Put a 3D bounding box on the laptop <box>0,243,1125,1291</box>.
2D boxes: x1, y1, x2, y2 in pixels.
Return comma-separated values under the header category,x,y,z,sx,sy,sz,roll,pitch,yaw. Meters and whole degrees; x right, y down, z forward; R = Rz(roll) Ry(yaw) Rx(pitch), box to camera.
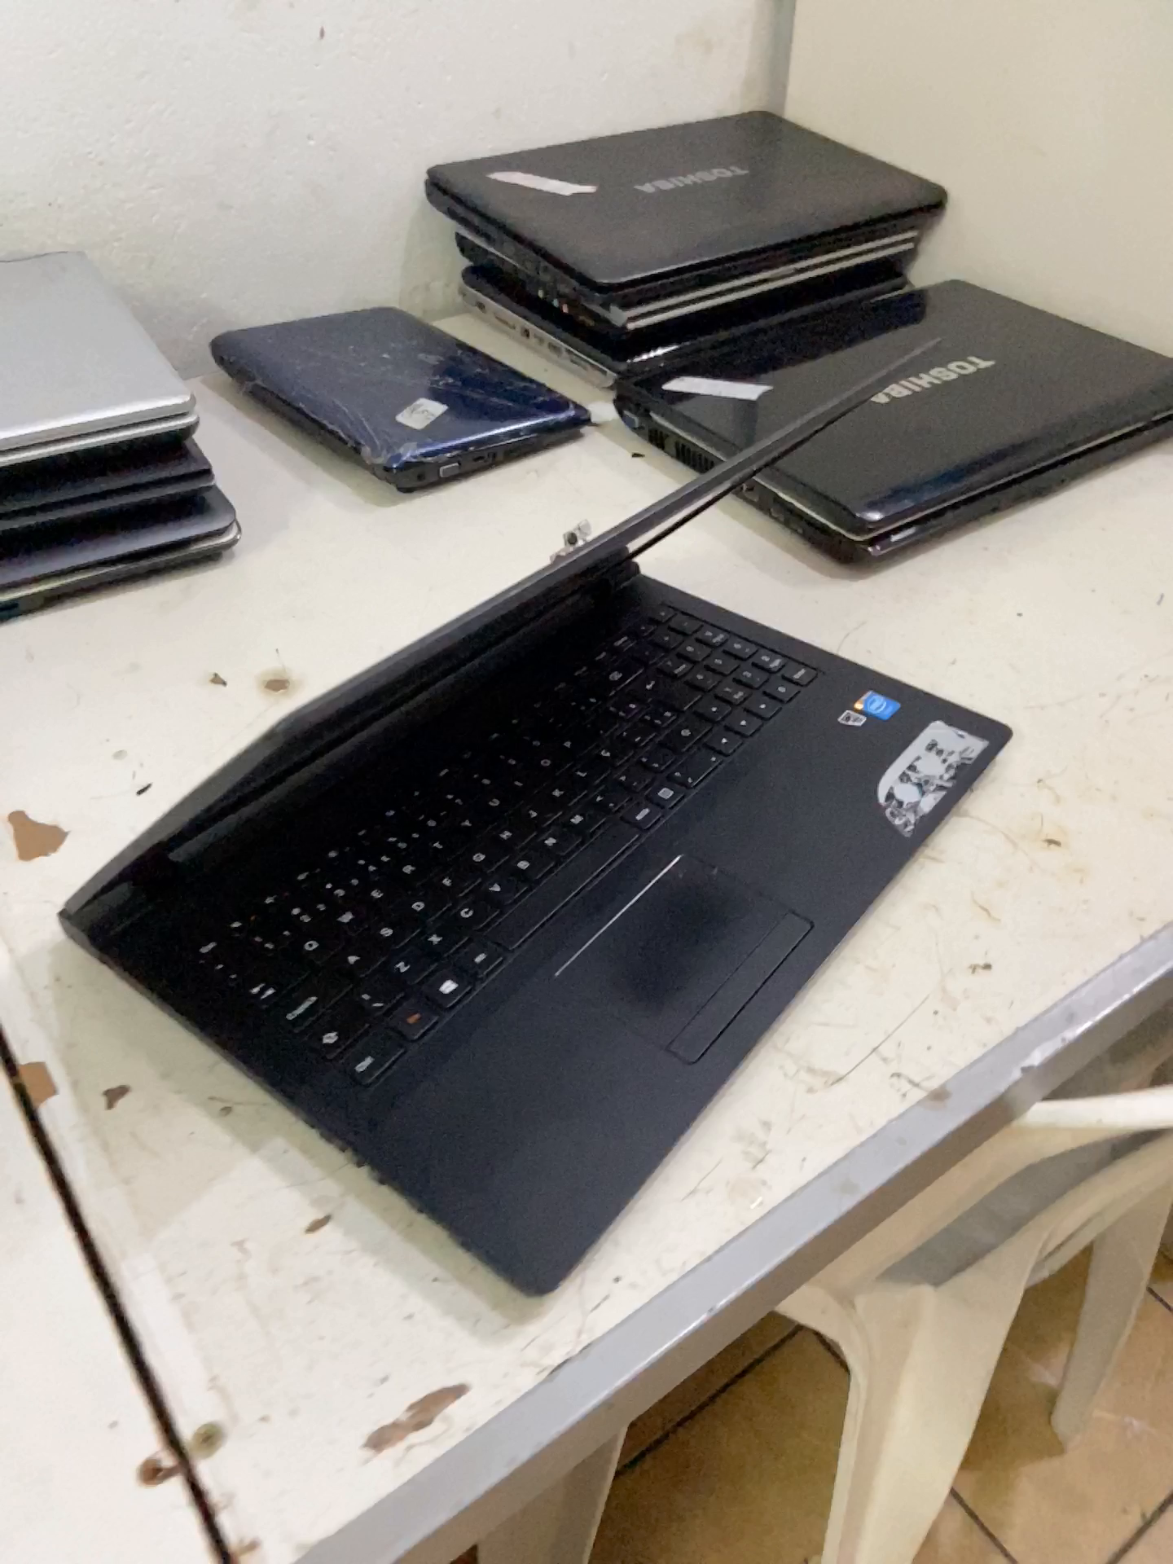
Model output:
category,x,y,z,sx,sy,sz,roll,pitch,yaw
laptop,0.003,-0.056,0.500,0.258,0.189,0.377,27,47,27
